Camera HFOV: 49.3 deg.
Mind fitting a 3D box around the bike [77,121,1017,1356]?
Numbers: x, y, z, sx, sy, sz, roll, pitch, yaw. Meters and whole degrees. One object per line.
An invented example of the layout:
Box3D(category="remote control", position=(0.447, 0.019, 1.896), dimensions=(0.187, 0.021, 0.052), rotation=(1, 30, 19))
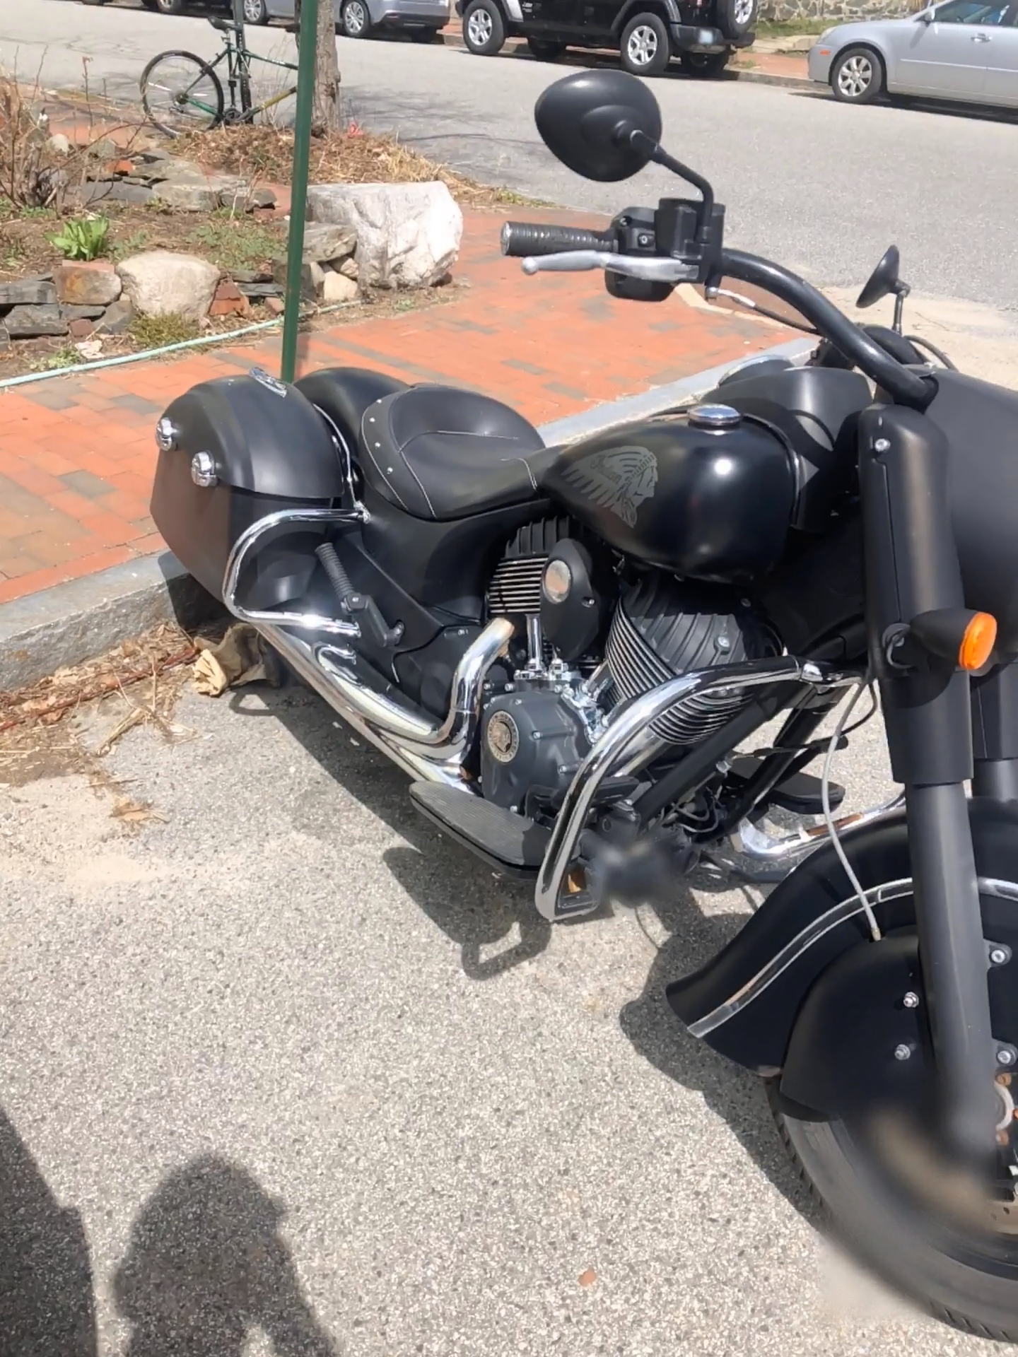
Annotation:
Box3D(category="bike", position=(0.193, -0.102, 1.745), dimensions=(0.783, 1.237, 2.133), rotation=(-22, 37, -32))
